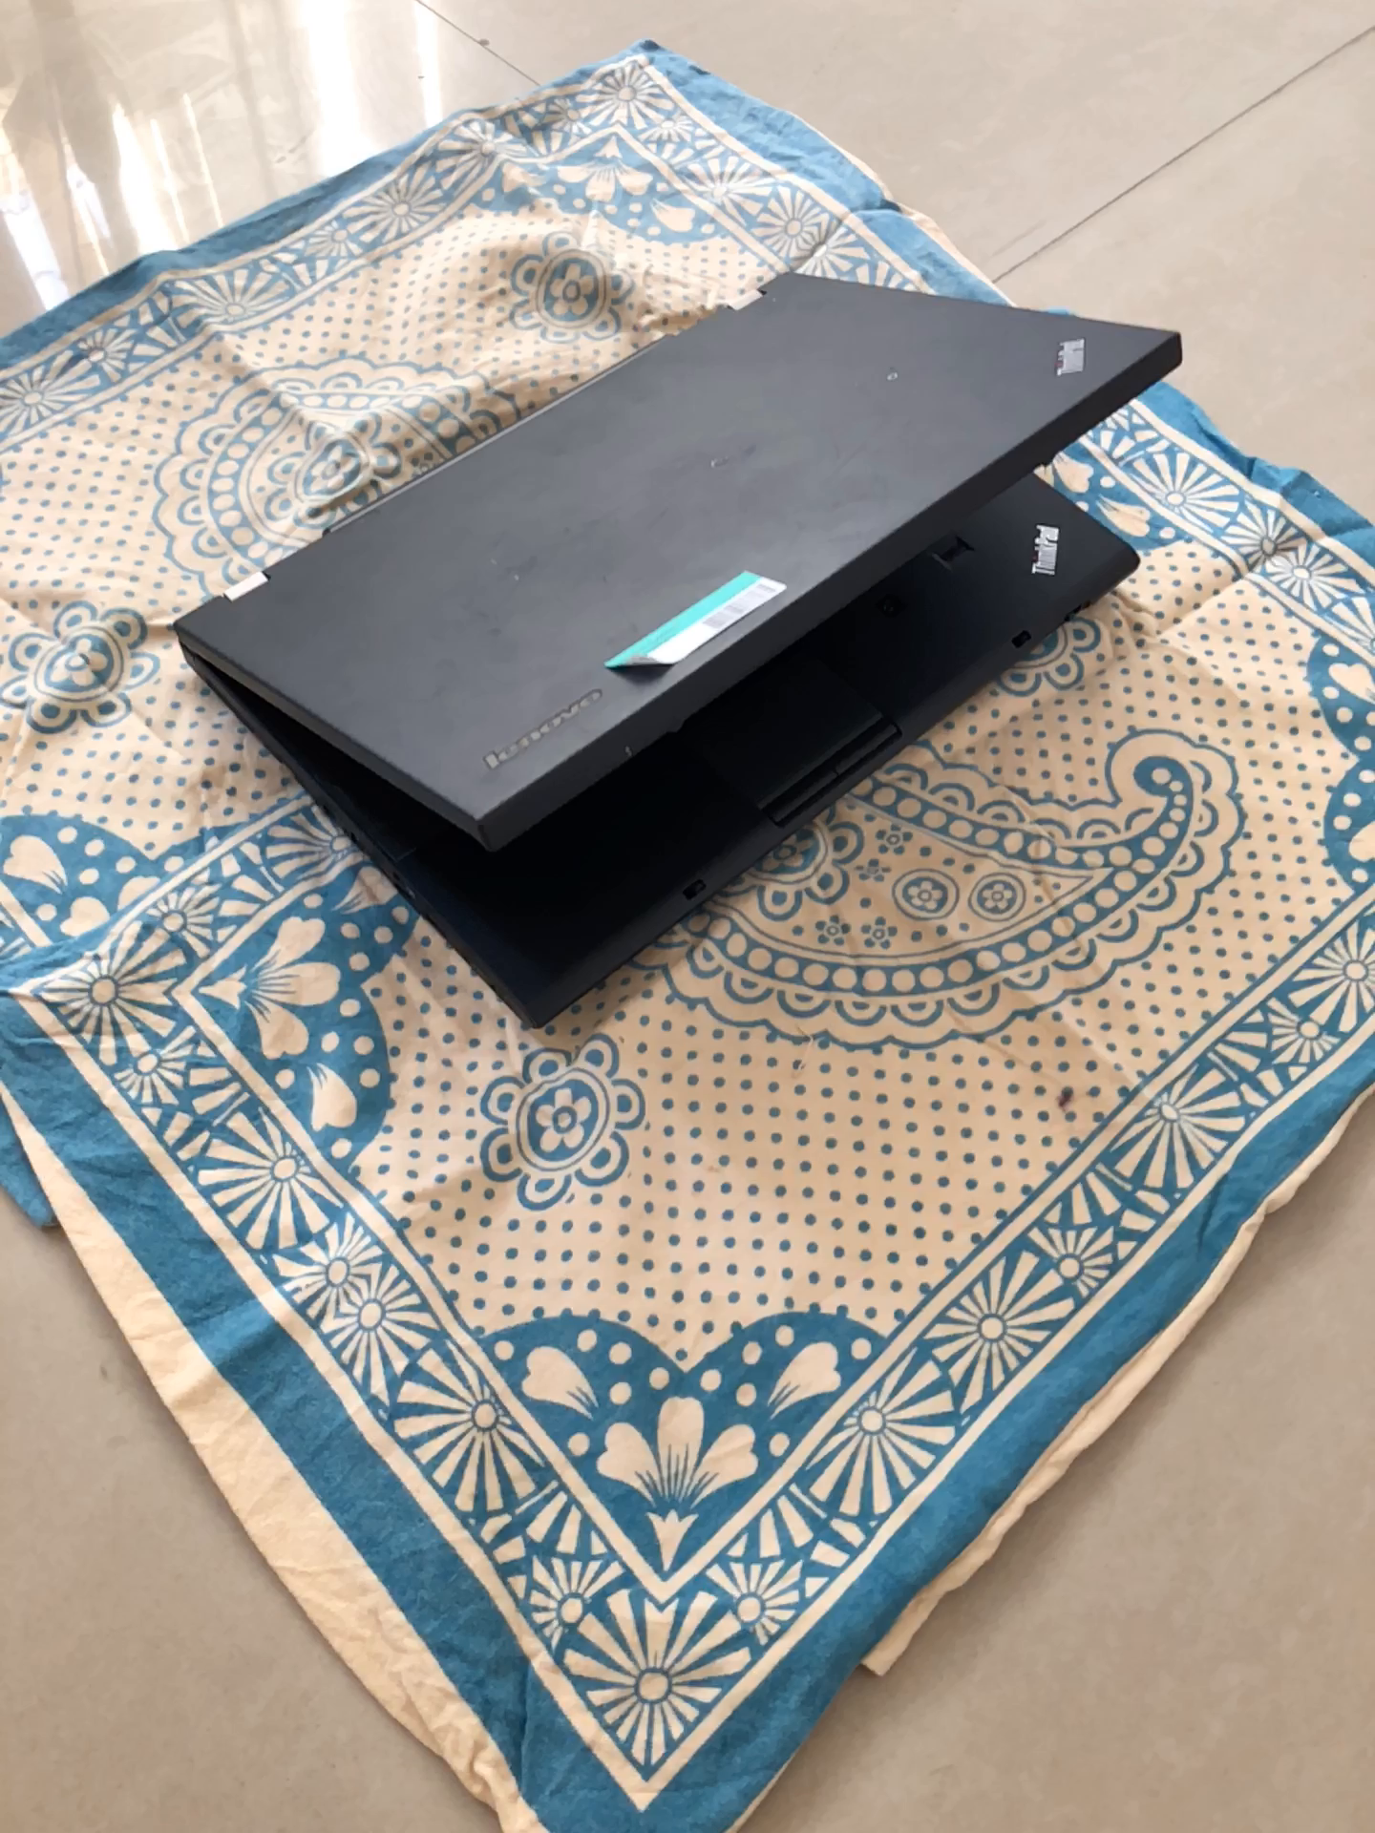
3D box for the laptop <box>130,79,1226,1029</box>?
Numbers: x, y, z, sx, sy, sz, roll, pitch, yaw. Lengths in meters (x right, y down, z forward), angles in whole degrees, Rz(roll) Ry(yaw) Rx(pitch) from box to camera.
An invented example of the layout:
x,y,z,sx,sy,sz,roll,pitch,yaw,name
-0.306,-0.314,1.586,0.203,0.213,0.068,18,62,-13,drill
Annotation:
x,y,z,sx,sy,sz,roll,pitch,yaw,name
-0.007,-0.166,0.639,0.348,0.125,0.240,-37,66,-17,laptop
